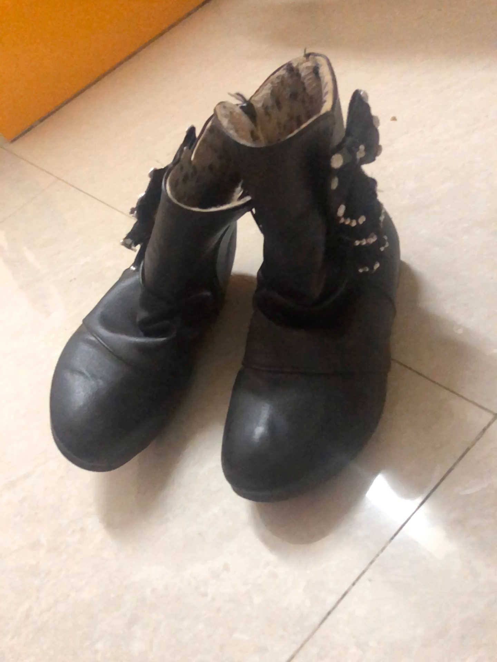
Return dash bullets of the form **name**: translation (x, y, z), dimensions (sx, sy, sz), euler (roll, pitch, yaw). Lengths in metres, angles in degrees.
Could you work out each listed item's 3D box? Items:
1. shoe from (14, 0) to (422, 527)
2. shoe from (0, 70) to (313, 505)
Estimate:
- **shoe**: translation (0.016, -0.042, 0.283), dimensions (0.090, 0.139, 0.221), euler (0, 50, 29)
- **shoe**: translation (-0.052, -0.025, 0.328), dimensions (0.090, 0.139, 0.201), euler (24, 58, 2)
